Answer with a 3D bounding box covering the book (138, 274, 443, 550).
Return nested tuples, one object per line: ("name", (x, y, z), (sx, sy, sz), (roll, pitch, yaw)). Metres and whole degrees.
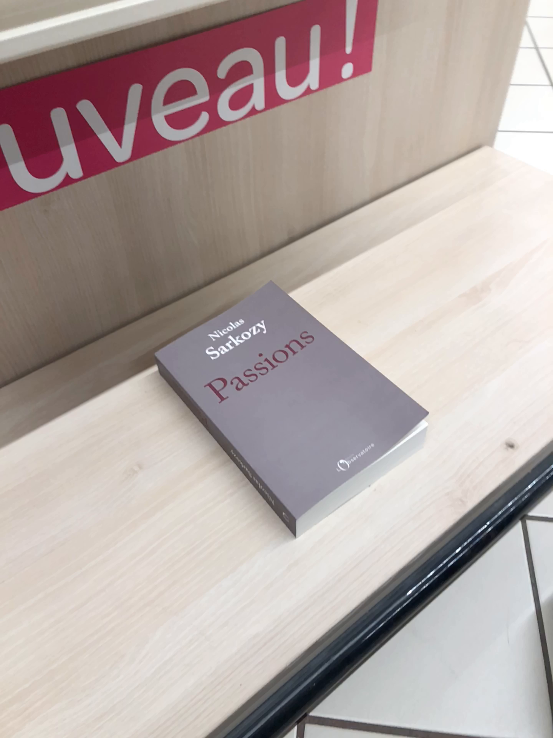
("book", (0.006, 0.021, 0.540), (0.157, 0.044, 0.225), (-31, 55, -24))
